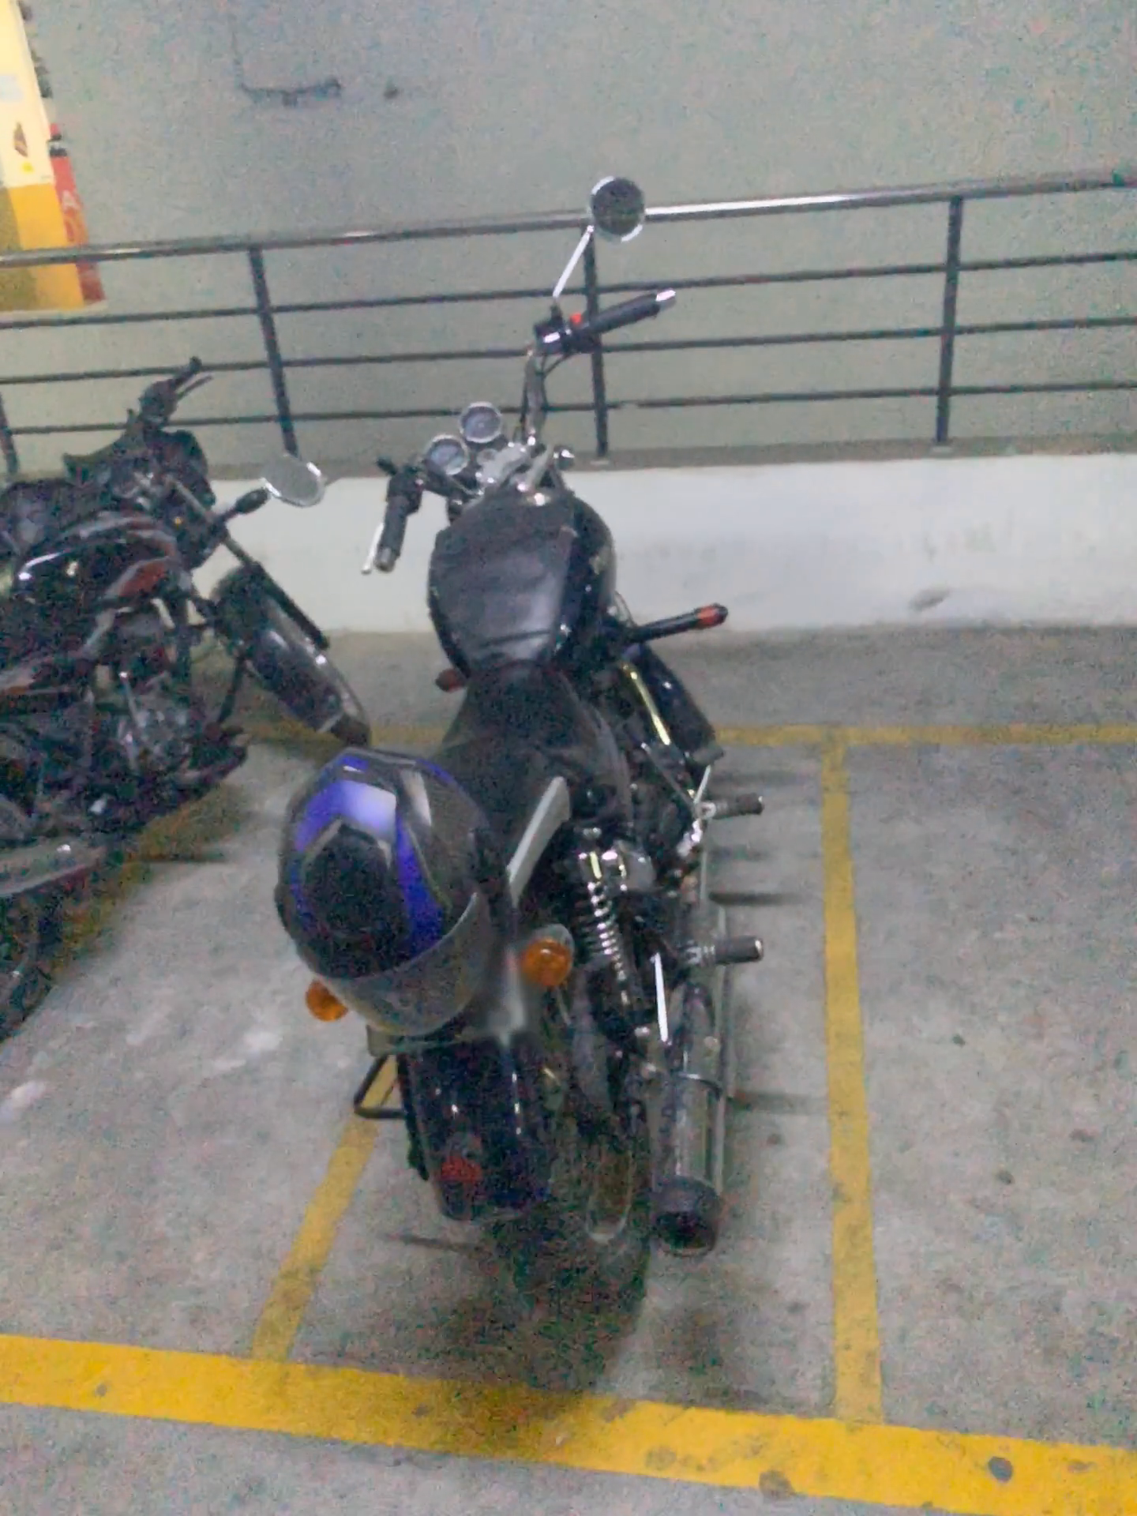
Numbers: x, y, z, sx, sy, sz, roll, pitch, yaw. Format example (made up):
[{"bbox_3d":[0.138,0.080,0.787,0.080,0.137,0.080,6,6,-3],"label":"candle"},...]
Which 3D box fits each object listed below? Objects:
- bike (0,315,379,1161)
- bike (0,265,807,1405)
[{"bbox_3d":[-1.159,-0.192,2.595,0.594,1.193,1.507,9,33,23],"label":"bike"},{"bbox_3d":[-0.205,-0.048,2.114,0.842,1.303,1.674,-5,29,0],"label":"bike"}]
